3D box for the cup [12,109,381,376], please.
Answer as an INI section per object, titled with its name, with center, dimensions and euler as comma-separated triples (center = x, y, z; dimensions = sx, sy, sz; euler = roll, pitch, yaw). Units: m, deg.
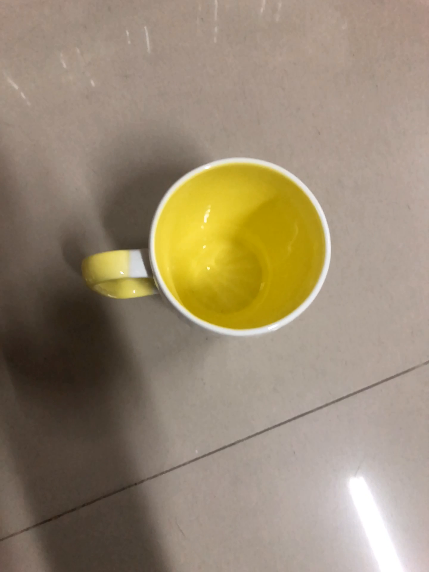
[cup]
center = -0.009, -0.012, 0.209
dimensions = 0.120, 0.080, 0.080
euler = -9, 82, -3
